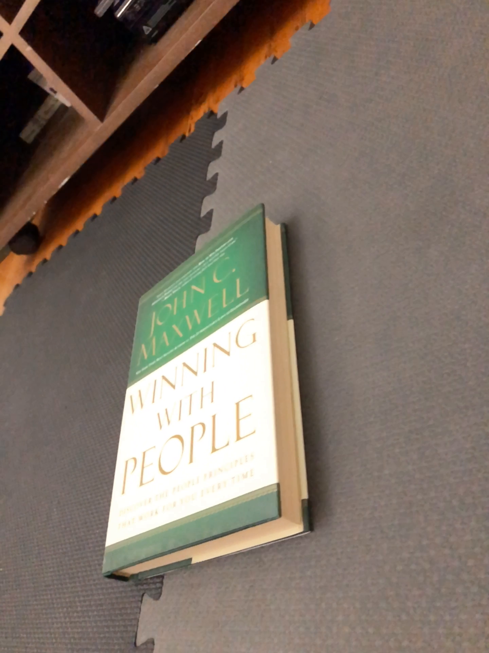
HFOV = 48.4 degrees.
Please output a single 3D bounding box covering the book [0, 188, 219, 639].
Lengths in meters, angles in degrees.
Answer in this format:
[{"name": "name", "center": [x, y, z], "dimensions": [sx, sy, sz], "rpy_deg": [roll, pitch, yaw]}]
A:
[{"name": "book", "center": [-0.106, 0.056, 0.402], "dimensions": [0.201, 0.030, 0.291], "rpy_deg": [-30, 43, 36]}]
